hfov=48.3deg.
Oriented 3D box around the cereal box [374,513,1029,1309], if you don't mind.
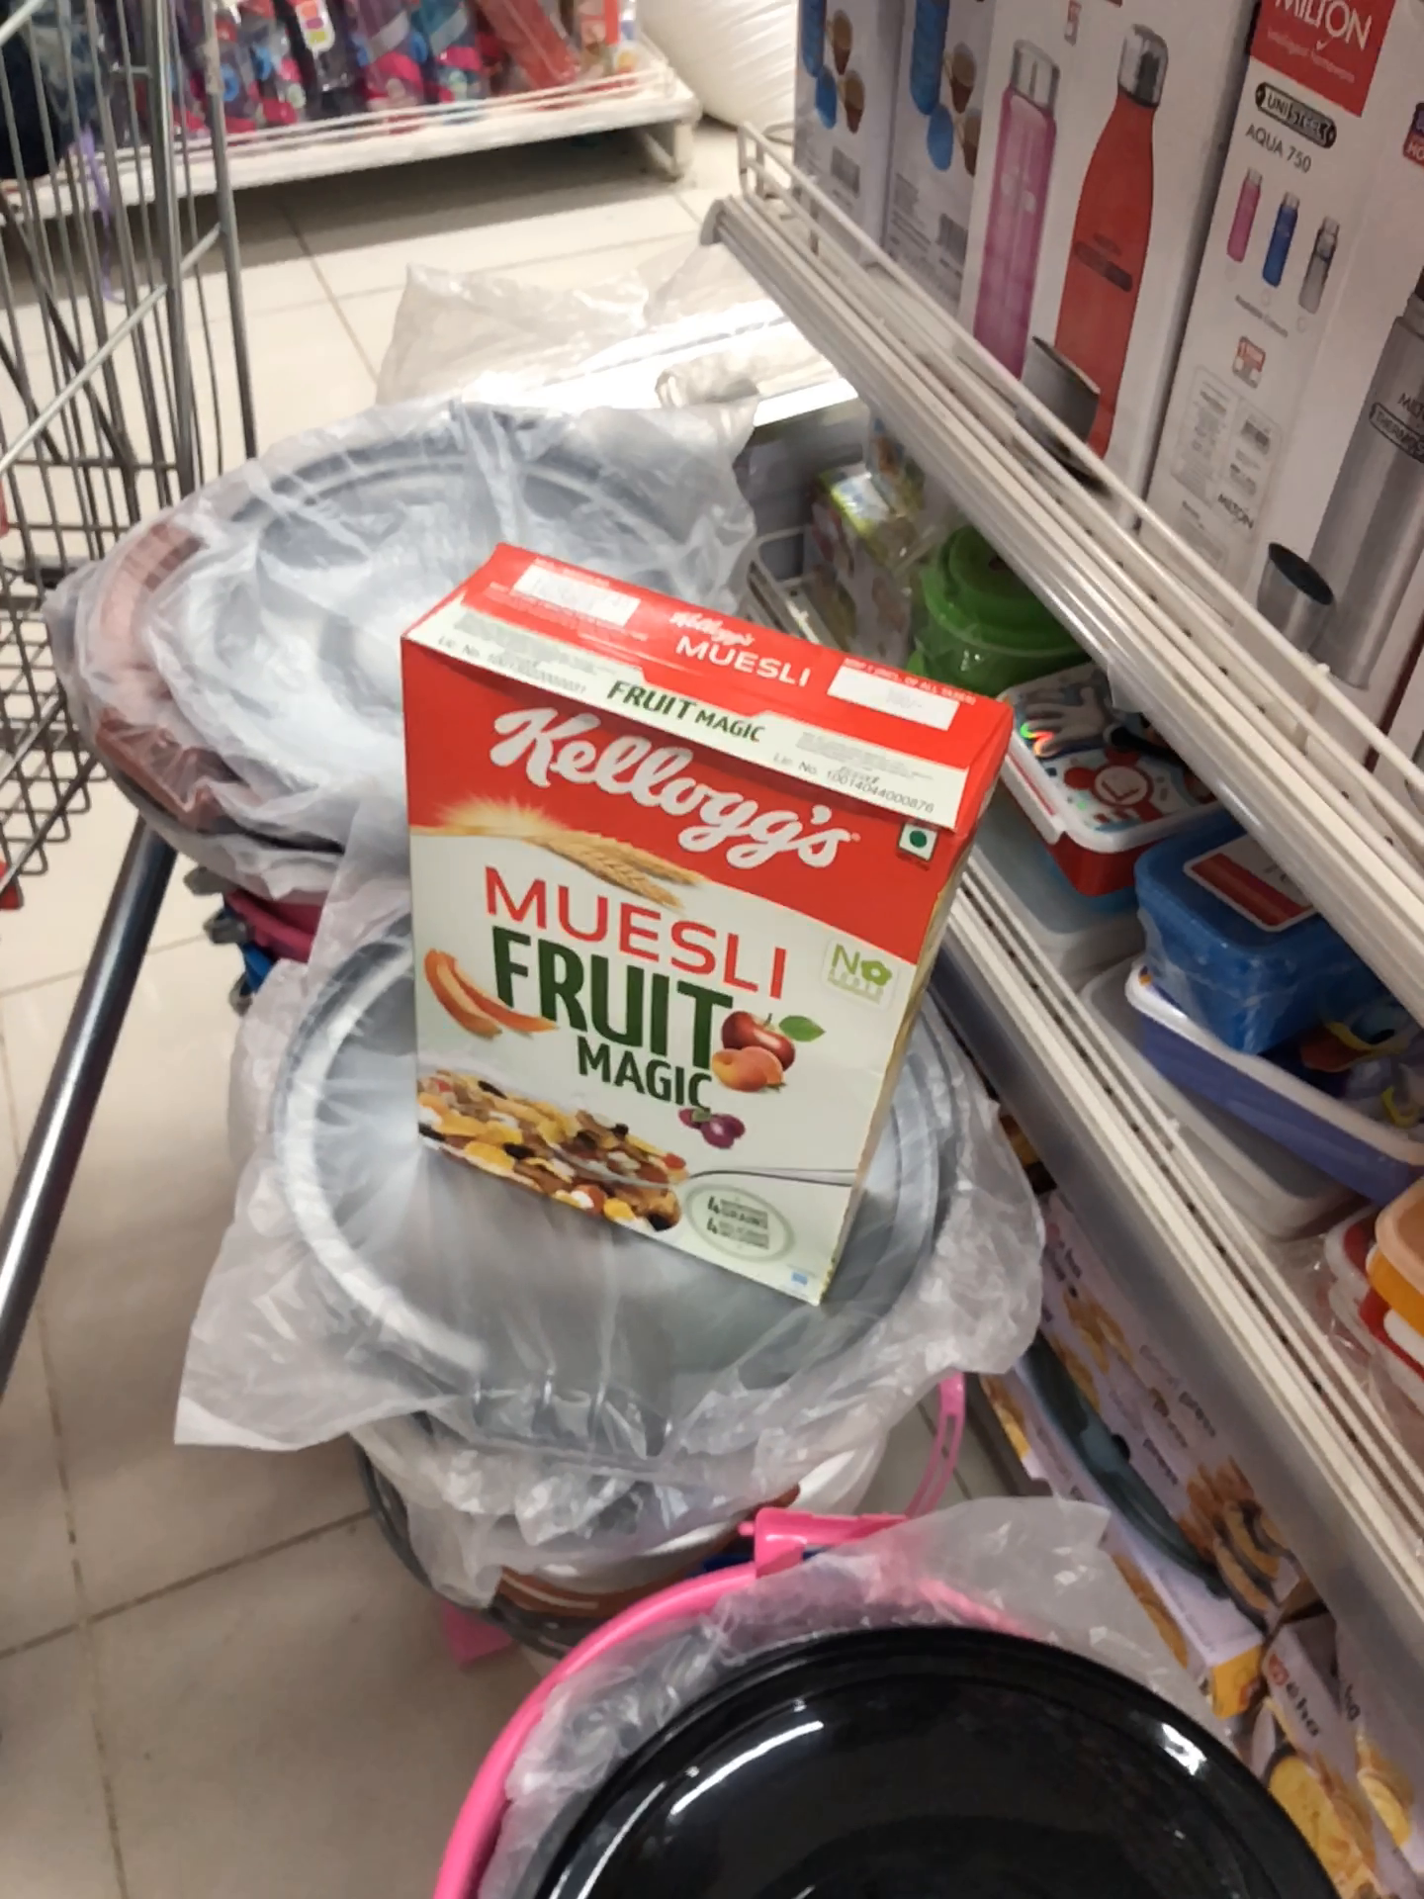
[{"bbox_3d":[-0.016,-0.003,0.573,0.190,0.249,0.070,21,45,12],"label":"cereal box"}]
